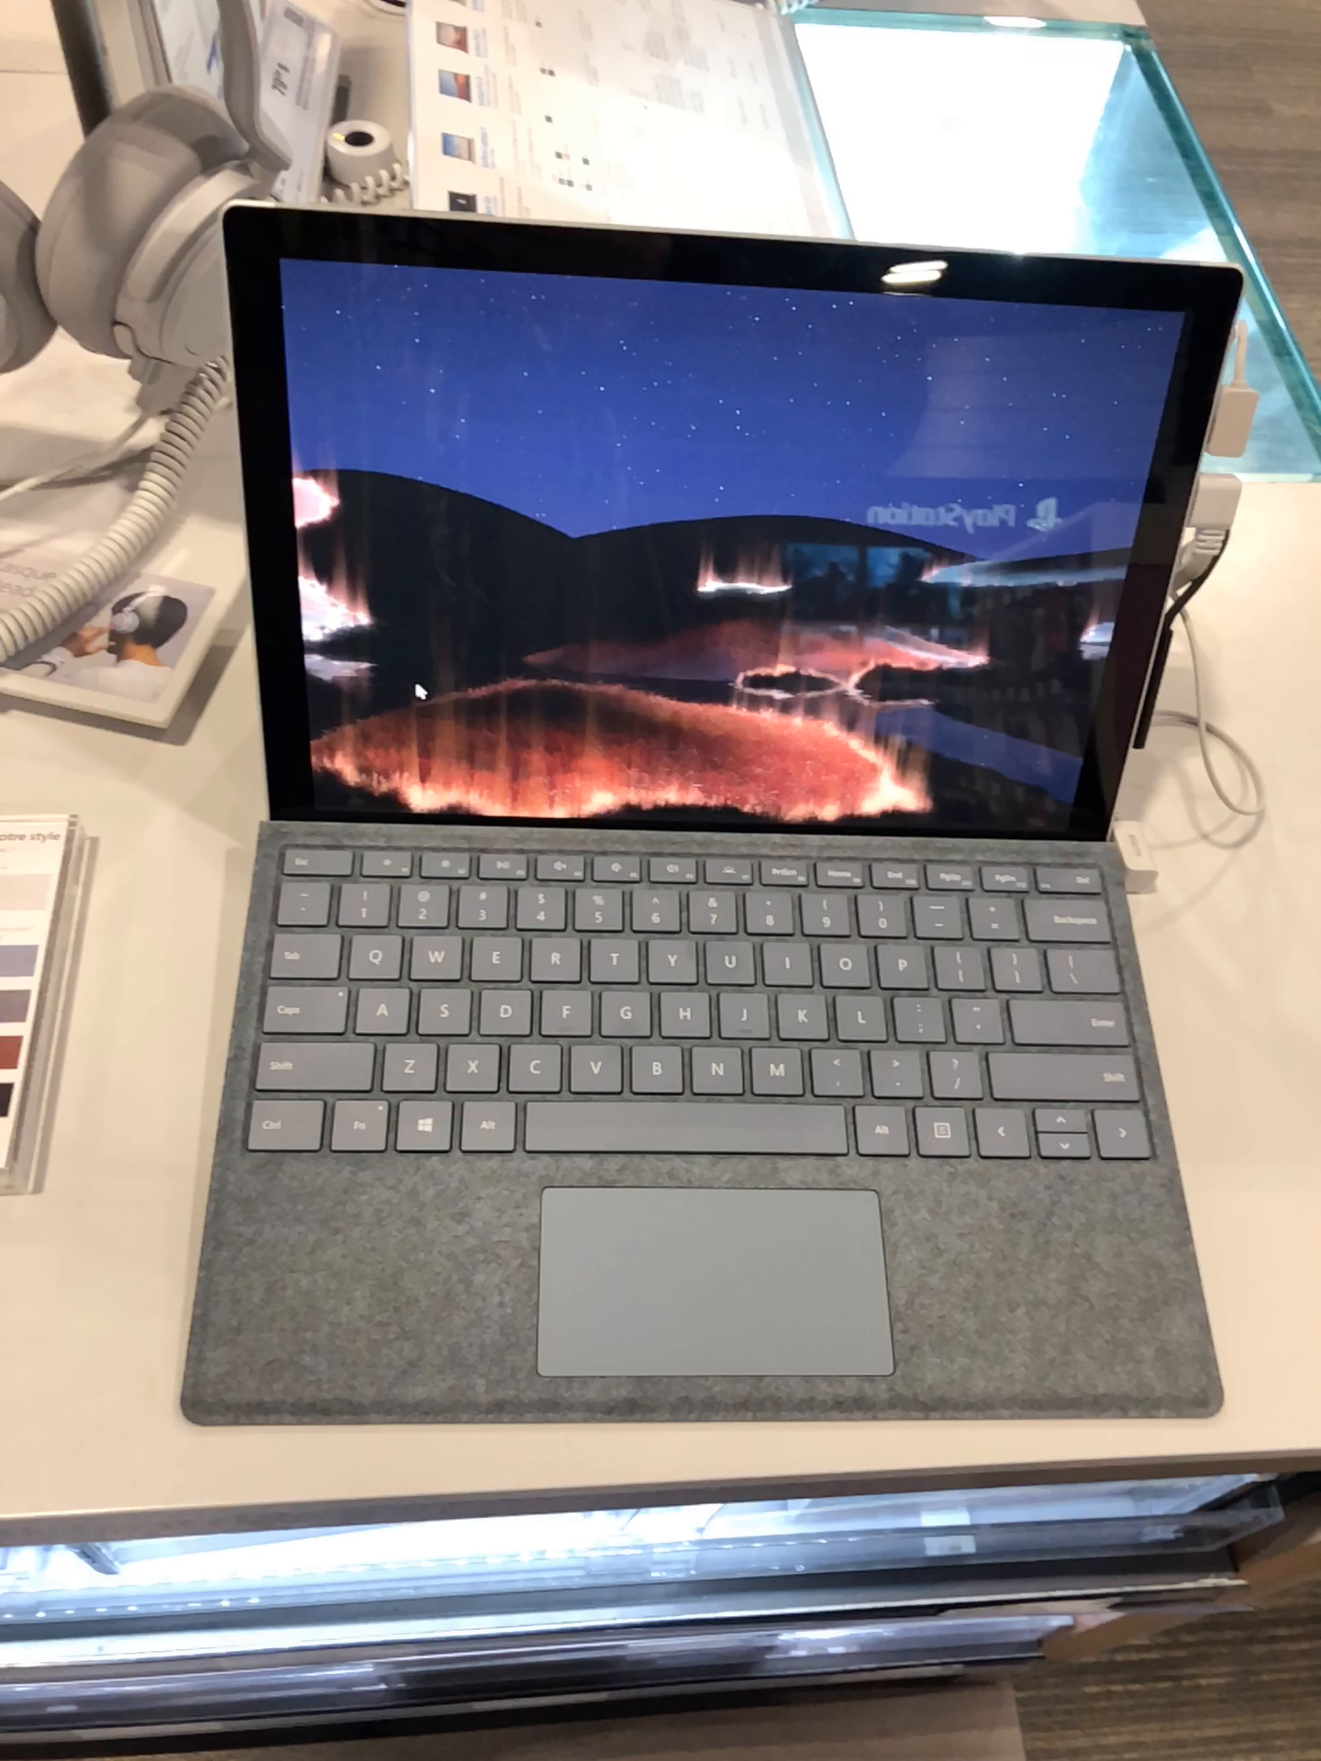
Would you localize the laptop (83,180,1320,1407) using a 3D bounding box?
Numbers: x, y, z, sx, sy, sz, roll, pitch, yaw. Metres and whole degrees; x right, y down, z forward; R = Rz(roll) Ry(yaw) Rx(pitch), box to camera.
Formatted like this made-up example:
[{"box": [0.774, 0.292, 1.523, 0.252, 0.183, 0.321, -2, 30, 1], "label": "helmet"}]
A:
[{"box": [0.024, -0.027, 0.397, 0.261, 0.143, 0.284, 1, 61, -1], "label": "laptop"}]
